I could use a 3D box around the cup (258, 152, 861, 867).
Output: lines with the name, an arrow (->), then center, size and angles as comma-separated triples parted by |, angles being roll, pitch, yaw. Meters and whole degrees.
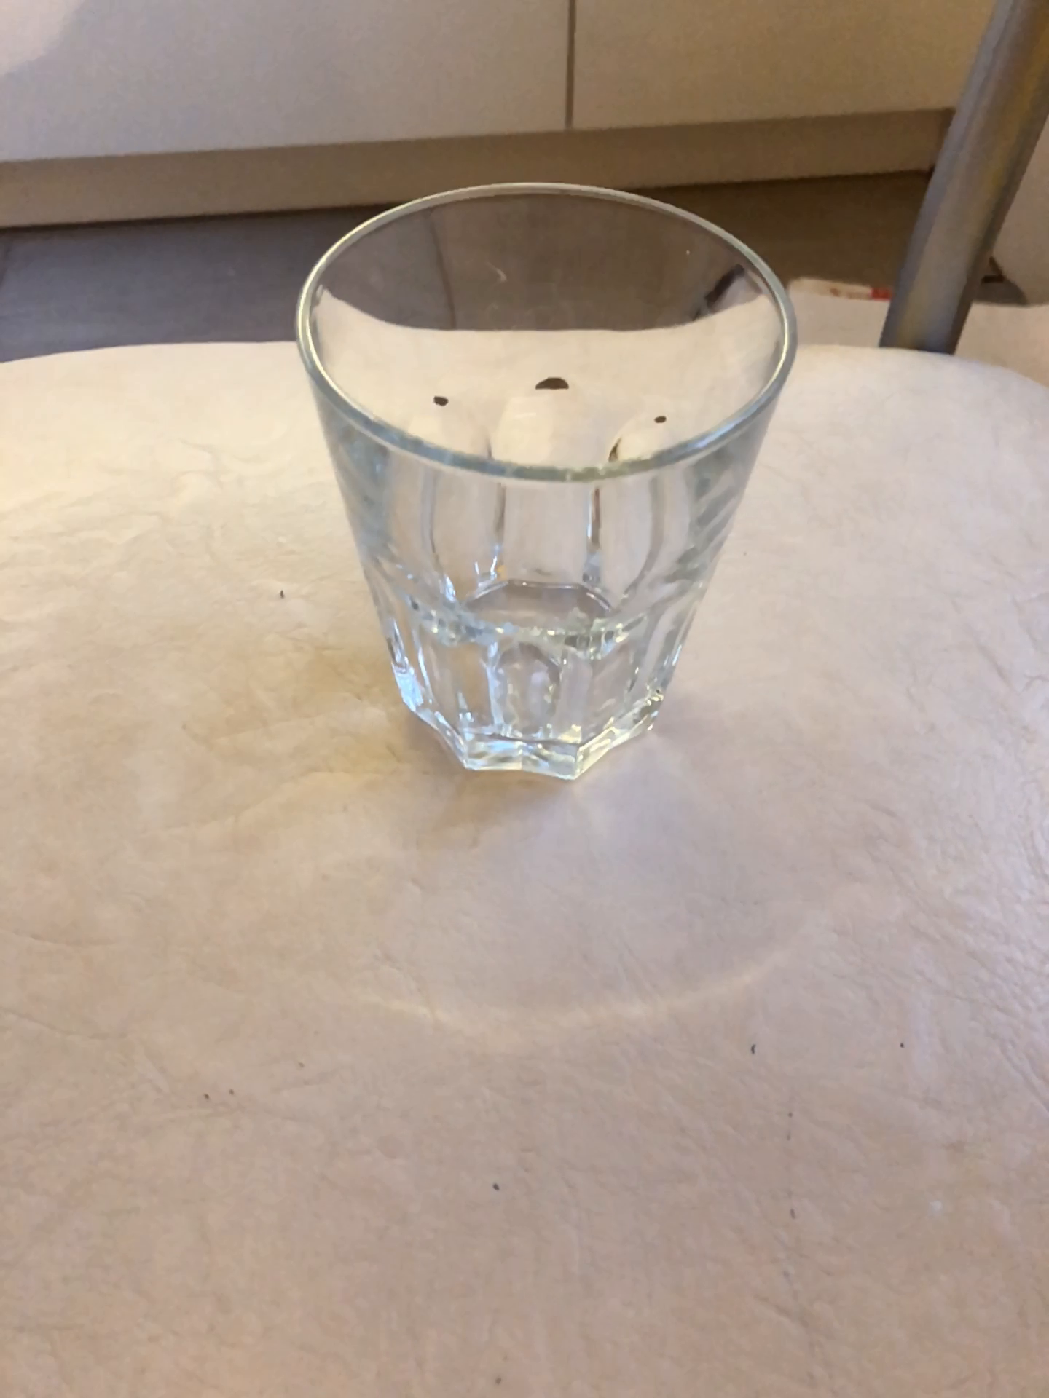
cup -> 0.001, -0.035, 0.230 | 0.080, 0.099, 0.080 | 0, 51, 0
